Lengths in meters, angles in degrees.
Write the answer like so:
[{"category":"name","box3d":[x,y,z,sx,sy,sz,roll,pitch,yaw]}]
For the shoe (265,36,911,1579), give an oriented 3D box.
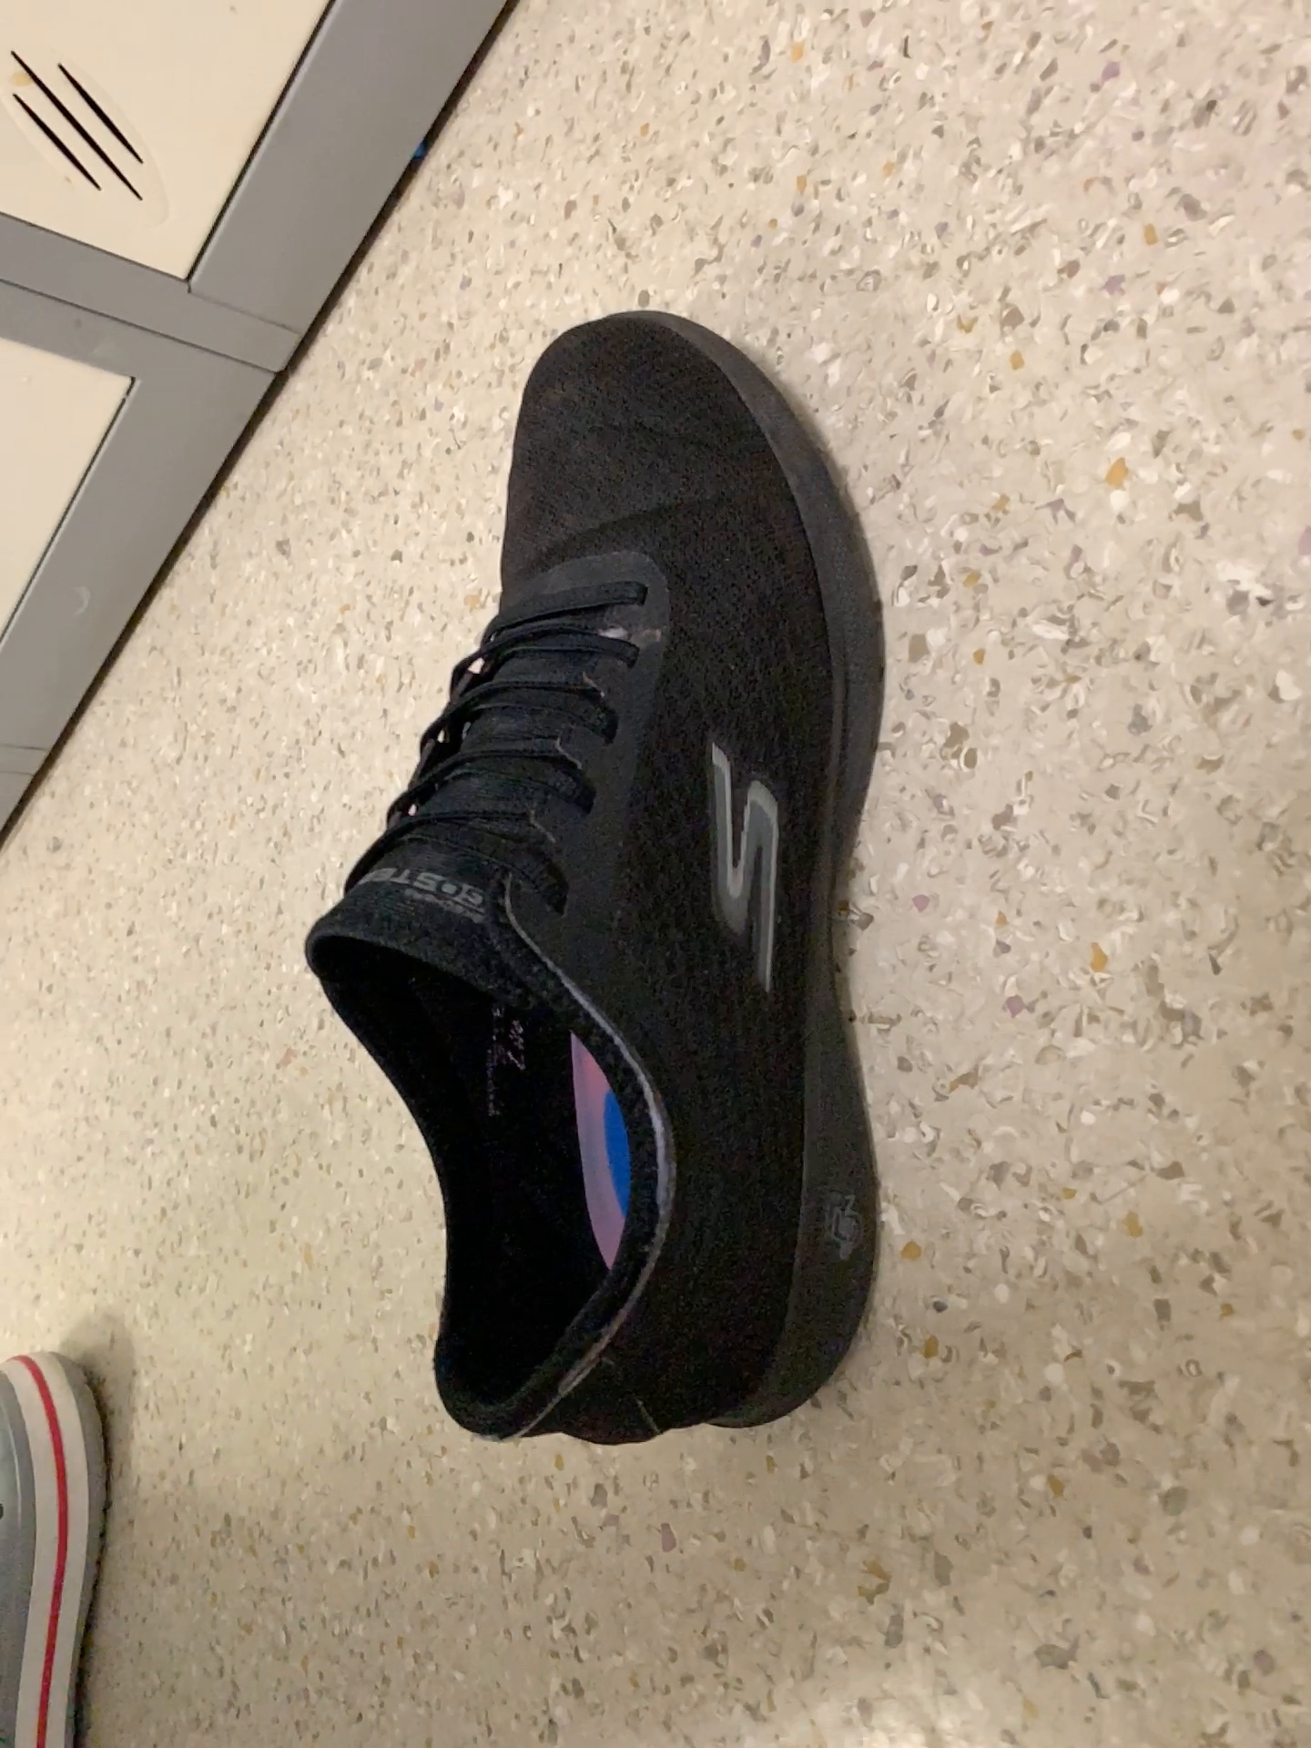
[{"category":"shoe","box3d":[-0.016,-0.013,0.313,0.105,0.099,0.280,-6,82,47]}]
